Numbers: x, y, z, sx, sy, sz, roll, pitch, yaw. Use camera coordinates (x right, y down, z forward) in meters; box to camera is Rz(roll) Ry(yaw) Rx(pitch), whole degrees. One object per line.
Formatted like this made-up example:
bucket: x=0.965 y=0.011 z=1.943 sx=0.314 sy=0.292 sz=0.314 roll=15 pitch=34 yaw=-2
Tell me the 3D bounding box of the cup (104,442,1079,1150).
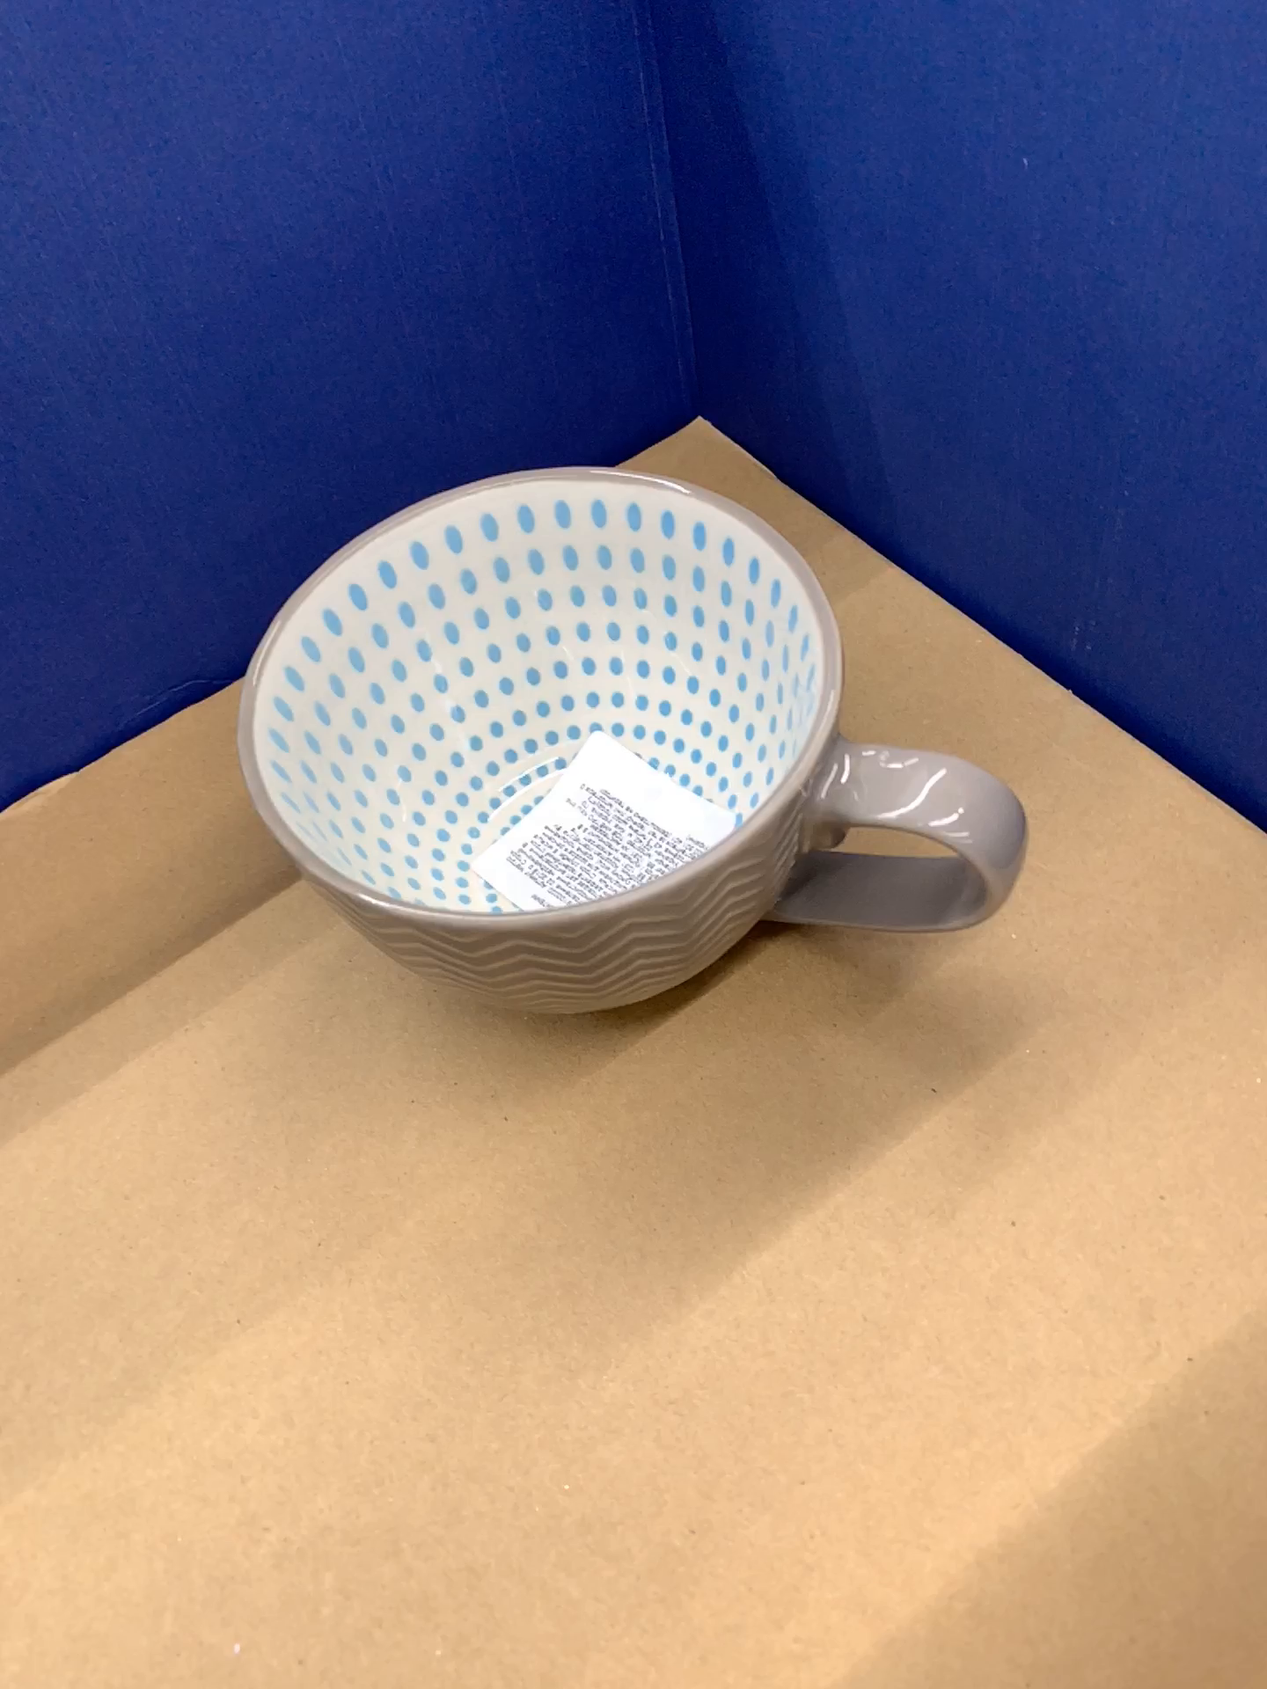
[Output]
cup: x=0.000 y=-0.017 z=0.254 sx=0.150 sy=0.058 sz=0.109 roll=8 pitch=54 yaw=16
